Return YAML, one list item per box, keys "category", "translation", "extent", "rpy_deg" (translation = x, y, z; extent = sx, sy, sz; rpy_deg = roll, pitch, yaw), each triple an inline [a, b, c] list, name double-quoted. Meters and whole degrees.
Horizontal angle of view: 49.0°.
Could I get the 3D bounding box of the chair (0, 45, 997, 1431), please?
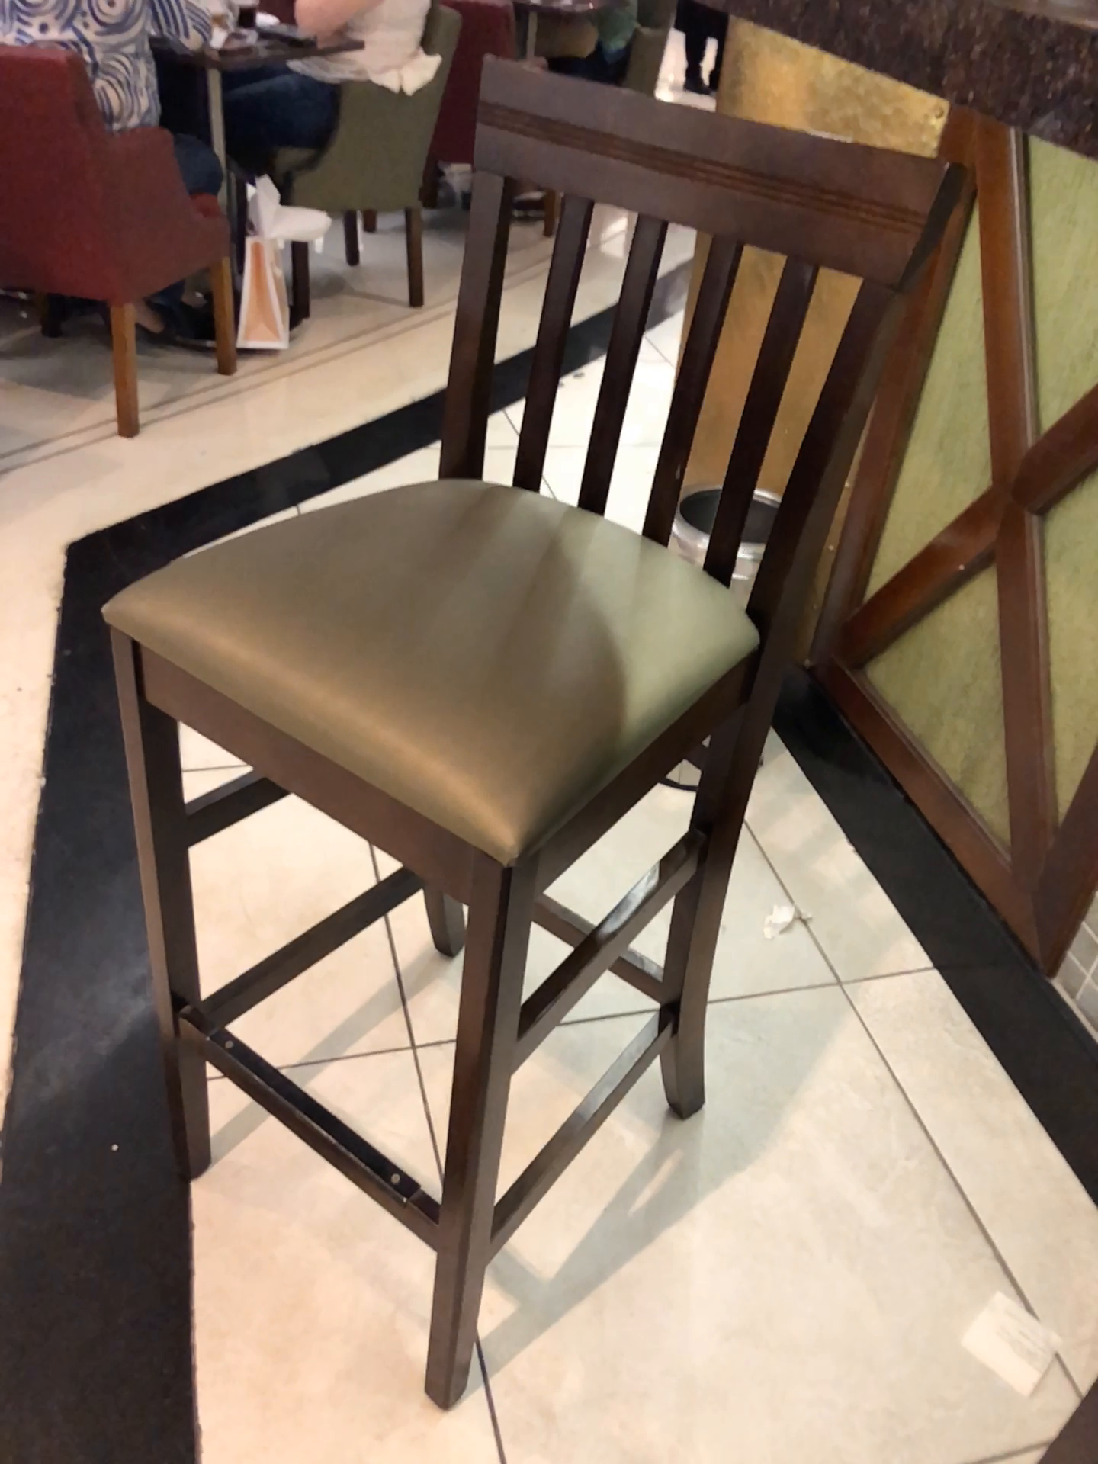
- category: "chair"
  translation: [-0.068, 0.022, 1.074]
  extent: [0.461, 1.032, 0.493]
  rpy_deg: [28, 41, 27]
